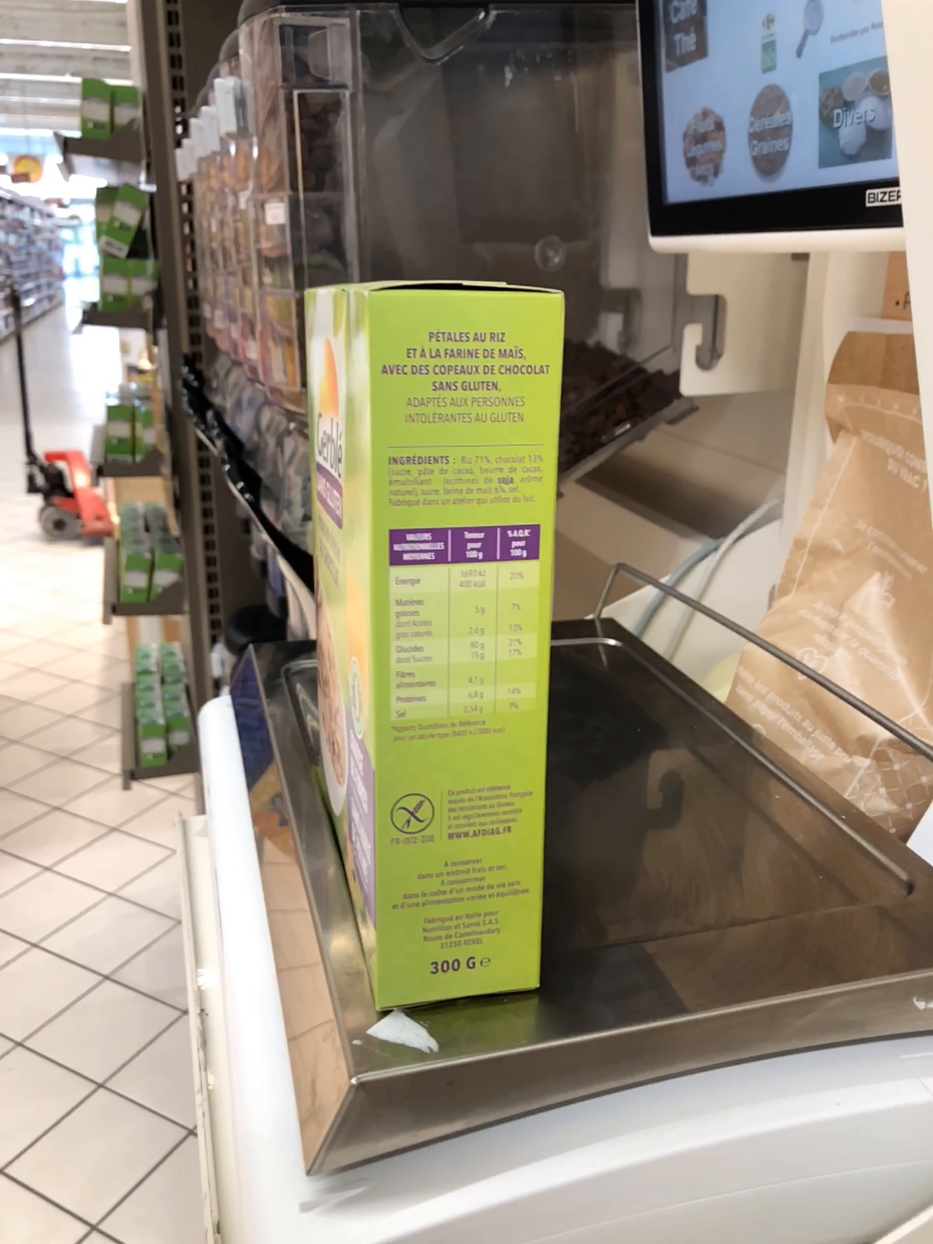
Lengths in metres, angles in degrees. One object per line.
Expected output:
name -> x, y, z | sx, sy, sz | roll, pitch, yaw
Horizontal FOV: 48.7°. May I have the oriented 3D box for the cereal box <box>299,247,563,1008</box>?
cereal box -> -0.023, -0.016, 0.387 | 0.060, 0.219, 0.201 | -3, 16, -11
